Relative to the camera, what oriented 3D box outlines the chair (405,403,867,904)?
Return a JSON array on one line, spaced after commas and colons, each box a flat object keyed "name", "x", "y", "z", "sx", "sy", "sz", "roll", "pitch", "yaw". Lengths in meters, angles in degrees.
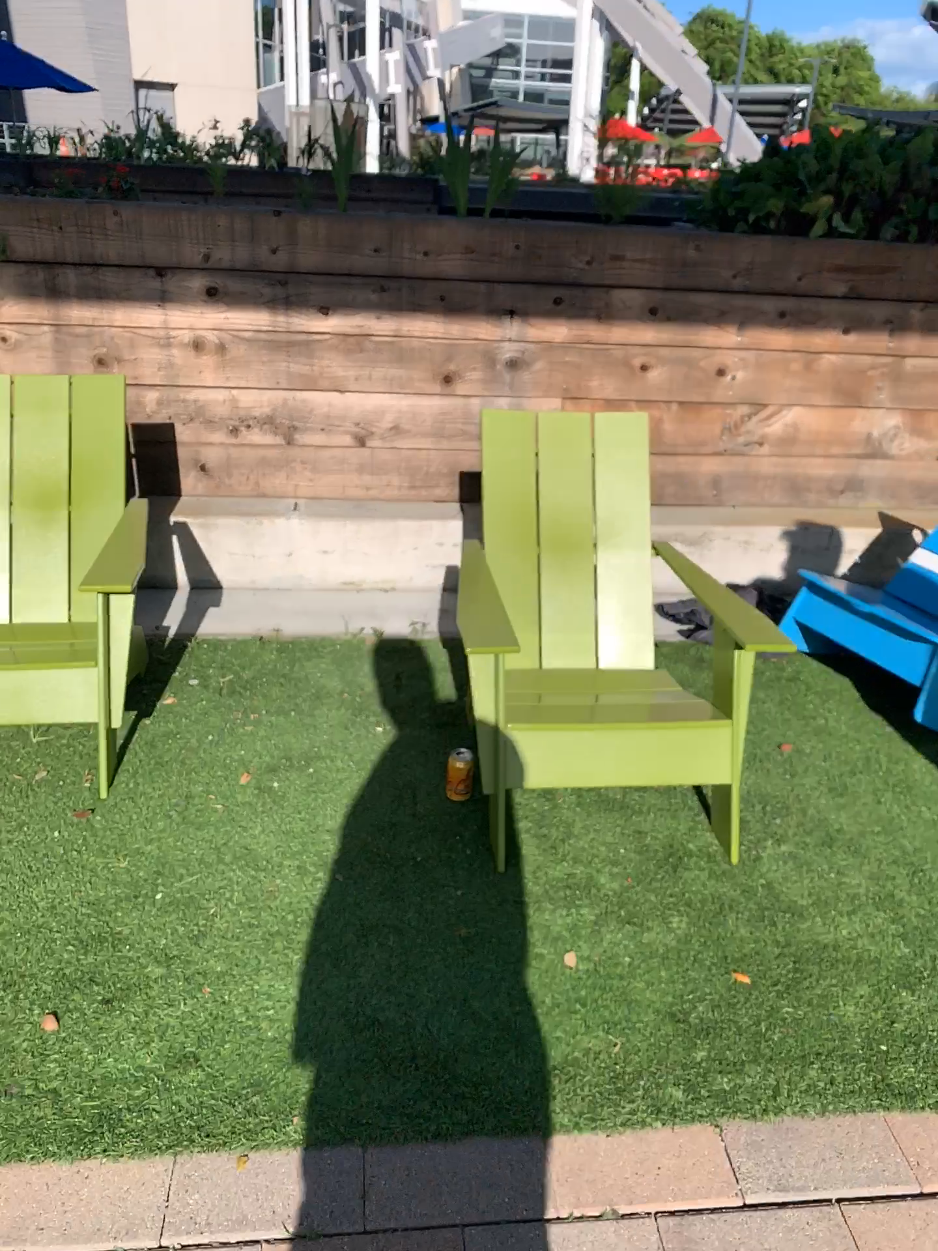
[{"name": "chair", "x": 0.288, "y": 0.008, "z": 2.491, "sx": 0.850, "sy": 0.895, "sz": 1.006, "roll": 0, "pitch": 26, "yaw": -6}]
